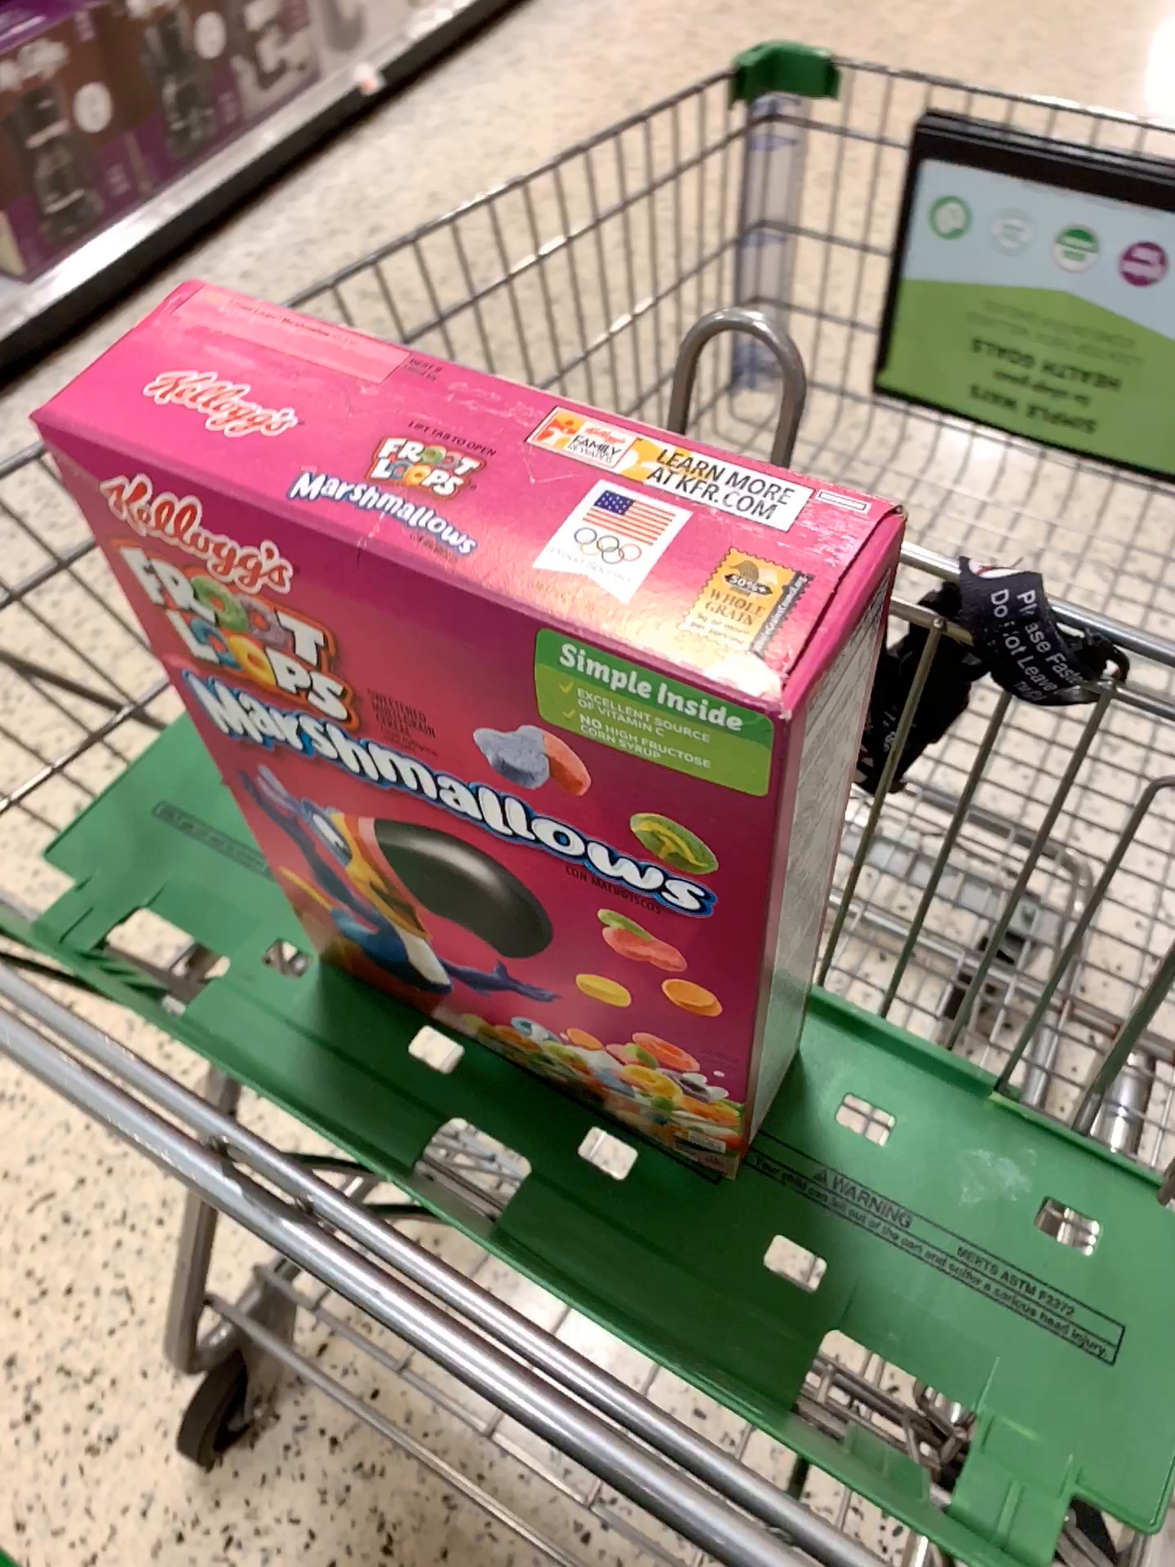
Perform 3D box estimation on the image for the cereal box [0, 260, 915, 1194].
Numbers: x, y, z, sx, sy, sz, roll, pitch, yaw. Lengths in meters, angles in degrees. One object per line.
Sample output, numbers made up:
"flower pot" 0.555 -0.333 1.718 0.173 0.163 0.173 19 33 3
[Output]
"cereal box" -0.027 0.010 0.377 0.200 0.287 0.060 24 61 20
